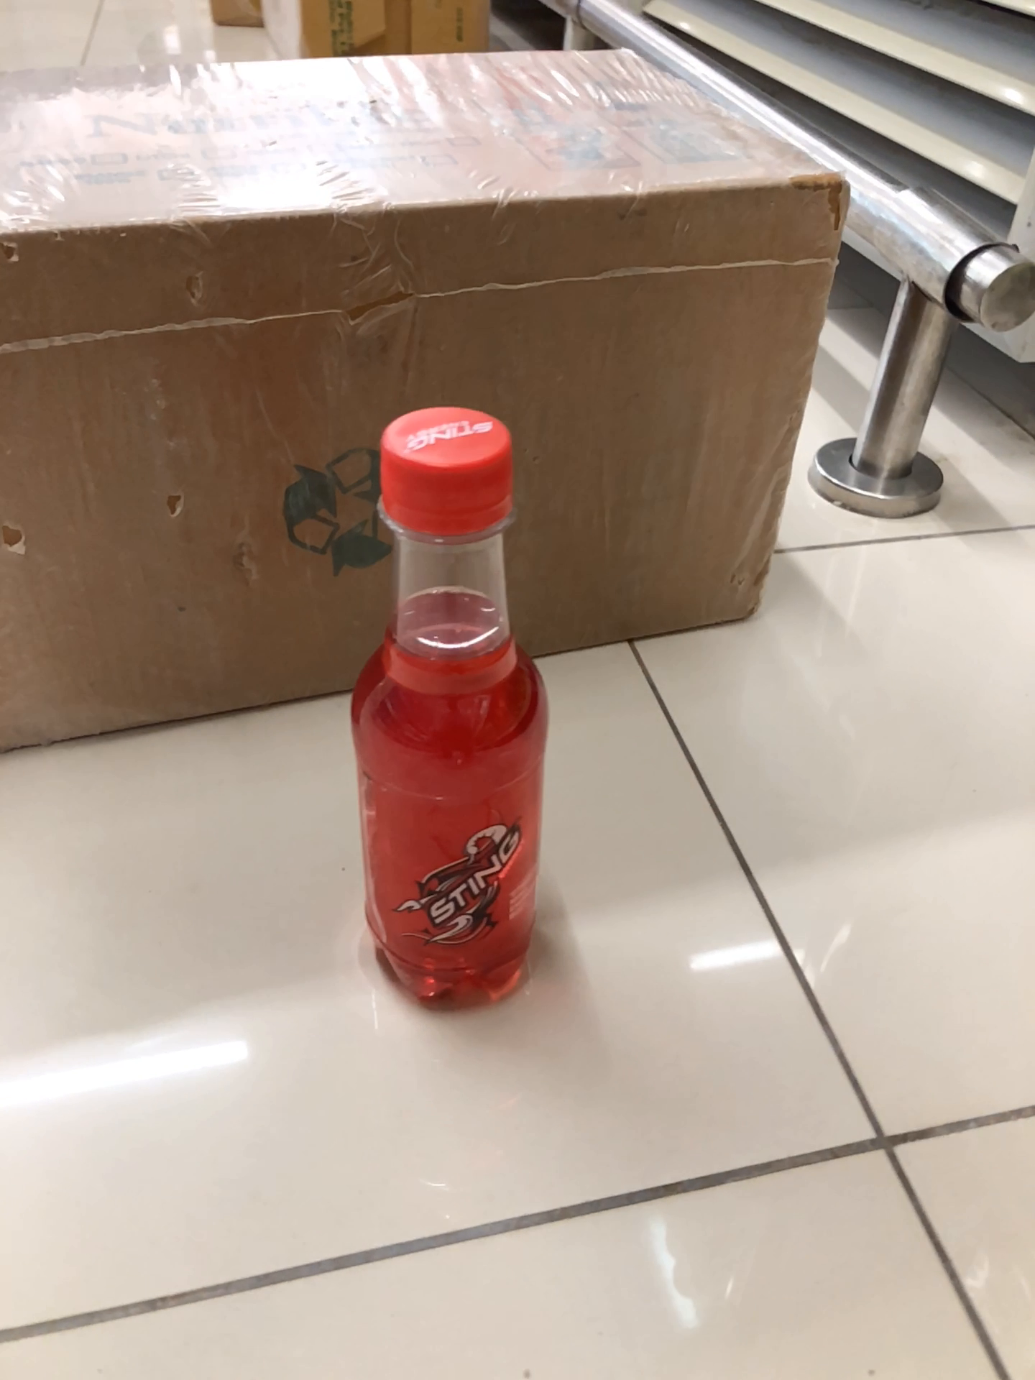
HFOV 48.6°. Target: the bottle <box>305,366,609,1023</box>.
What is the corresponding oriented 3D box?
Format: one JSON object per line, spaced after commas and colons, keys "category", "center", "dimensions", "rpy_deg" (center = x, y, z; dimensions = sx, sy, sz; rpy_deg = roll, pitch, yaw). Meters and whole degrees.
{"category": "bottle", "center": [-0.019, 0.009, 0.323], "dimensions": [0.060, 0.179, 0.060], "rpy_deg": [1, 38, -1]}
